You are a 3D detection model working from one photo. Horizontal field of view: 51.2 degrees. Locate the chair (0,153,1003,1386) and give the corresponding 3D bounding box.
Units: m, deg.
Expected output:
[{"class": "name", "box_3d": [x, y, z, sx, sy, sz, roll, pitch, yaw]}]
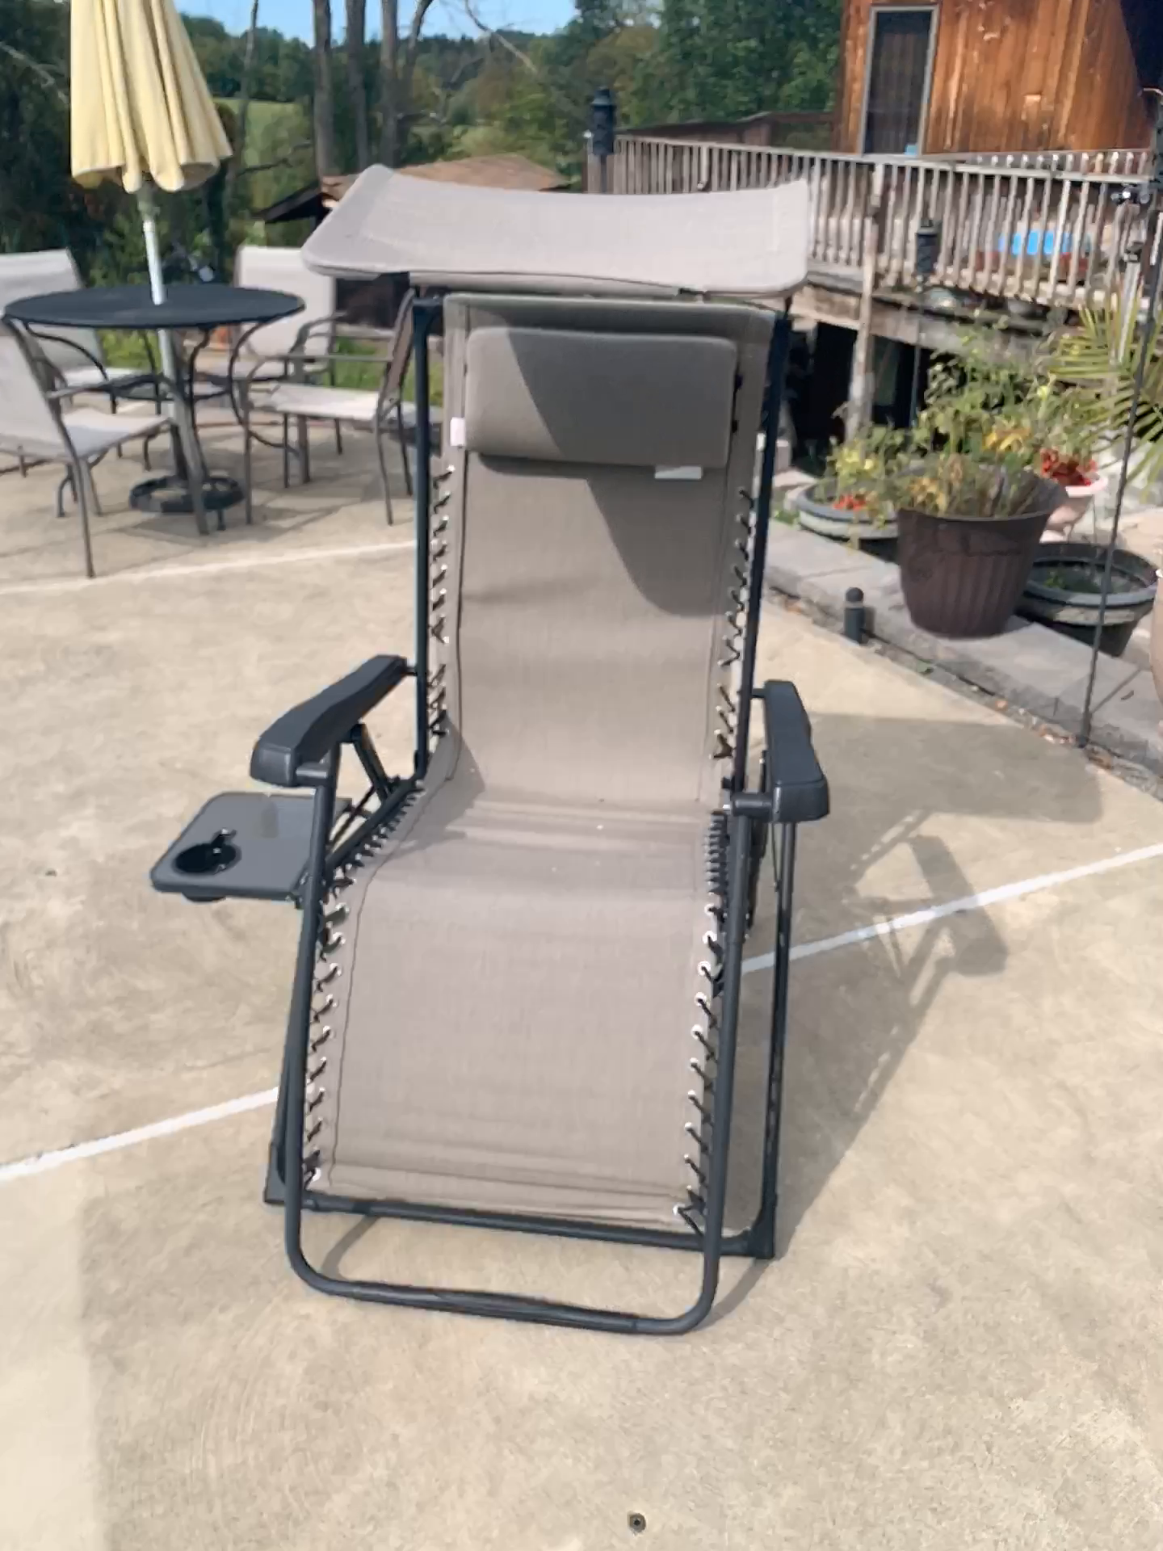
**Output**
[{"class": "chair", "box_3d": [-0.209, -0.099, 1.475, 1.062, 1.137, 0.913, 4, 29, 7]}]
